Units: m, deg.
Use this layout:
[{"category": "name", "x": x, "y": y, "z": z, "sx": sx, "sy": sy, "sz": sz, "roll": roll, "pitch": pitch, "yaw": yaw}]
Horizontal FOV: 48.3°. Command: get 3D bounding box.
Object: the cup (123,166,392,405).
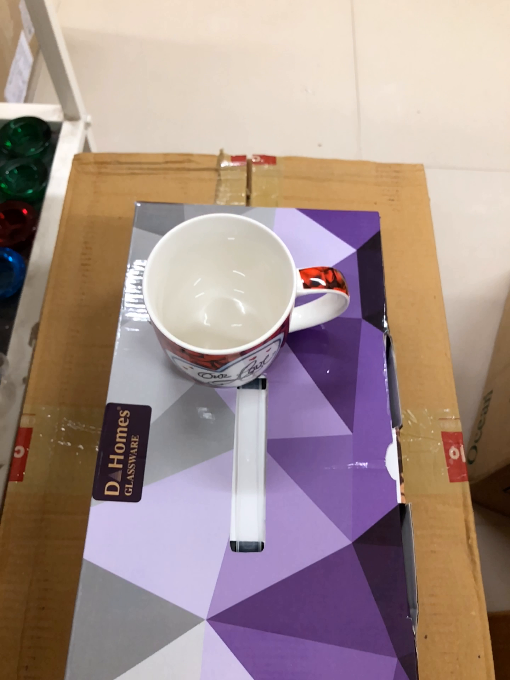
[{"category": "cup", "x": -0.003, "y": -0.030, "z": 0.352, "sx": 0.130, "sy": 0.100, "sz": 0.090, "roll": -9, "pitch": 65, "yaw": -6}]
